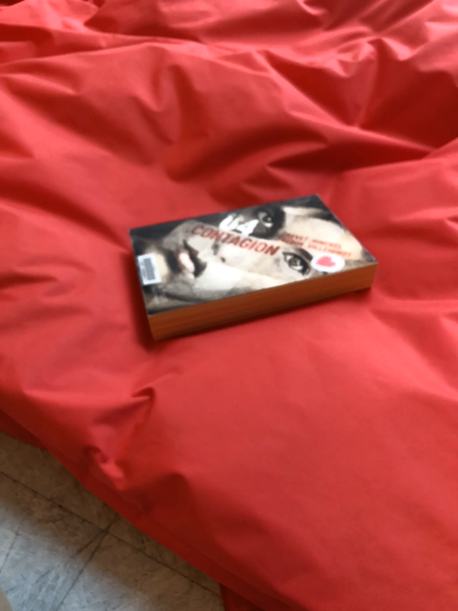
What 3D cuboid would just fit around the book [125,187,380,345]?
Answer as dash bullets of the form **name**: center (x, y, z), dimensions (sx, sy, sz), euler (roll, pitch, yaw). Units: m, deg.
- **book**: center (0.014, -0.052, 0.539), dimensions (0.225, 0.038, 0.167), euler (-12, 40, -9)
